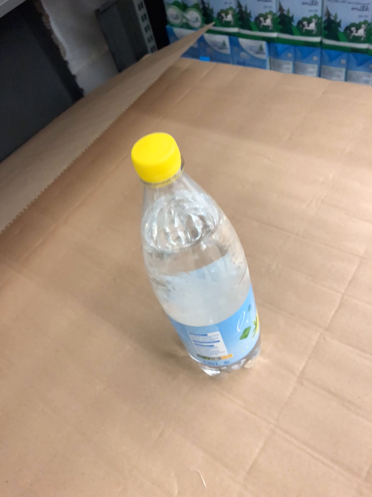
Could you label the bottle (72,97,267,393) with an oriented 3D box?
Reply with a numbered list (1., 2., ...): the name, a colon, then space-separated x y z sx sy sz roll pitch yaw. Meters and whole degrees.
1. bottle: 0.016 0.027 0.352 0.080 0.289 0.091 2 55 17
